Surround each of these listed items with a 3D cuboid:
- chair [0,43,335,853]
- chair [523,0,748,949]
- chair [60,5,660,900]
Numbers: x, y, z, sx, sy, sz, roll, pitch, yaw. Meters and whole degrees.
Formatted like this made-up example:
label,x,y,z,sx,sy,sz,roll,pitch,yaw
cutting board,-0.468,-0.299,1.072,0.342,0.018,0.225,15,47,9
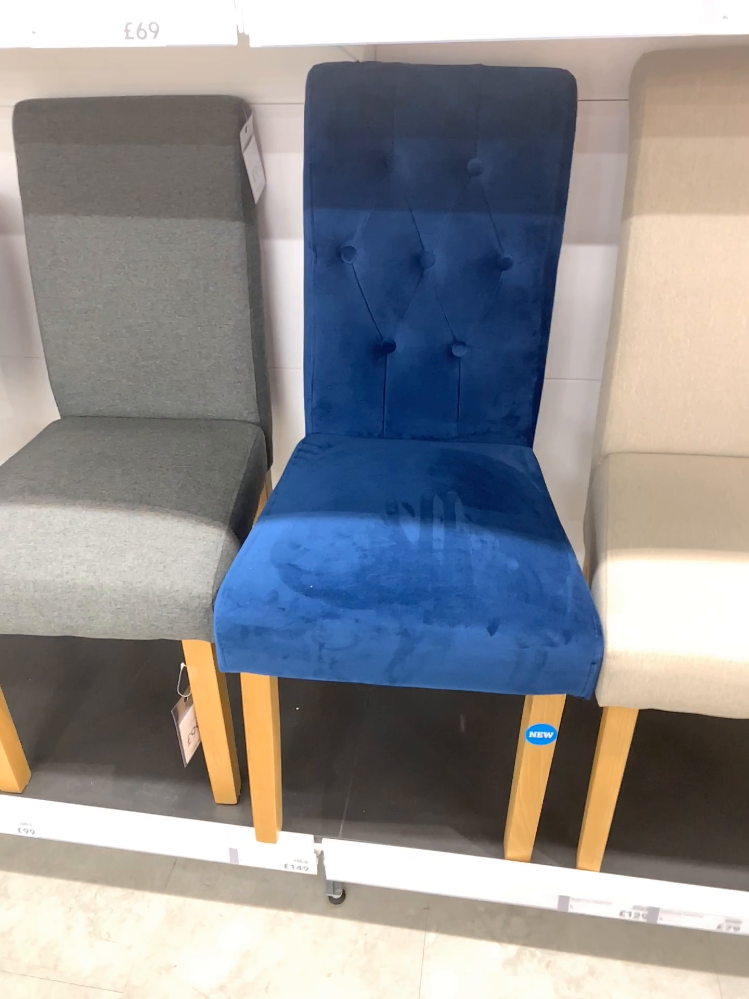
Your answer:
label,x,y,z,sx,sy,sz,roll,pitch,yaw
chair,-0.386,-0.106,1.219,0.489,1.025,0.673,3,27,8
chair,0.505,-0.057,1.067,0.489,1.035,0.673,3,27,8
chair,0.031,-0.082,1.141,0.489,1.035,0.673,3,27,8
